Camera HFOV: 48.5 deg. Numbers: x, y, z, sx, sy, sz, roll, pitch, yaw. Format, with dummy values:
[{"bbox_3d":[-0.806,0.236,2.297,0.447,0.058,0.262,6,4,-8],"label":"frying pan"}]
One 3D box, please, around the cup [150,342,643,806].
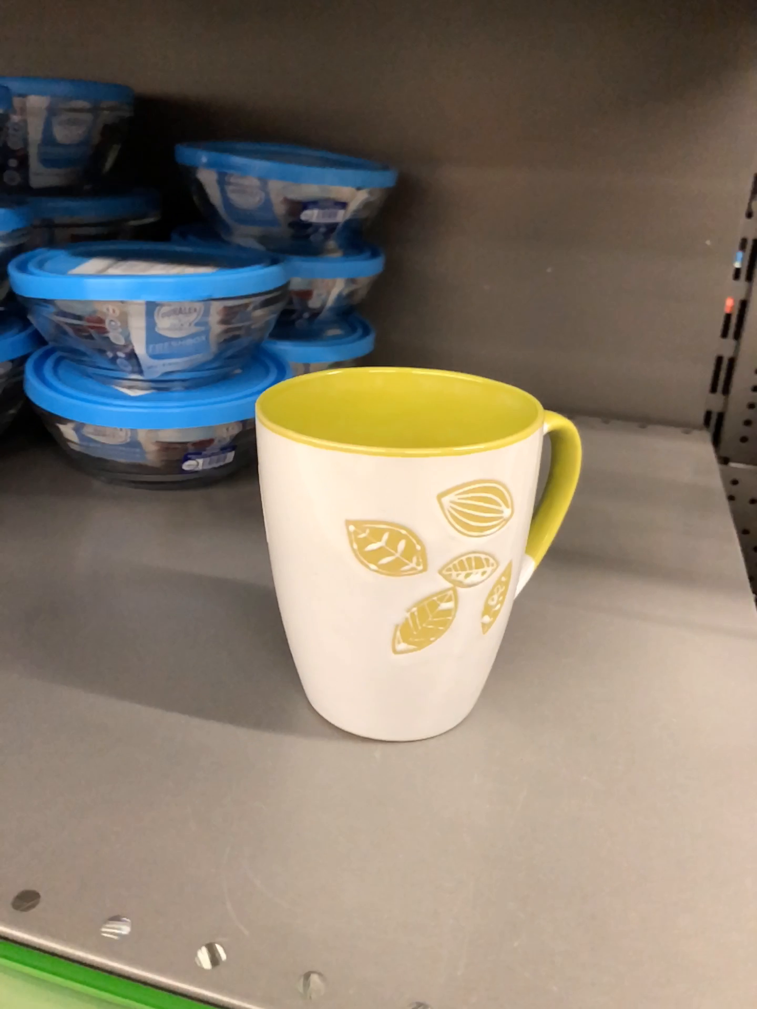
[{"bbox_3d":[0.006,0.009,0.285,0.126,0.095,0.094,-17,30,-38],"label":"cup"}]
